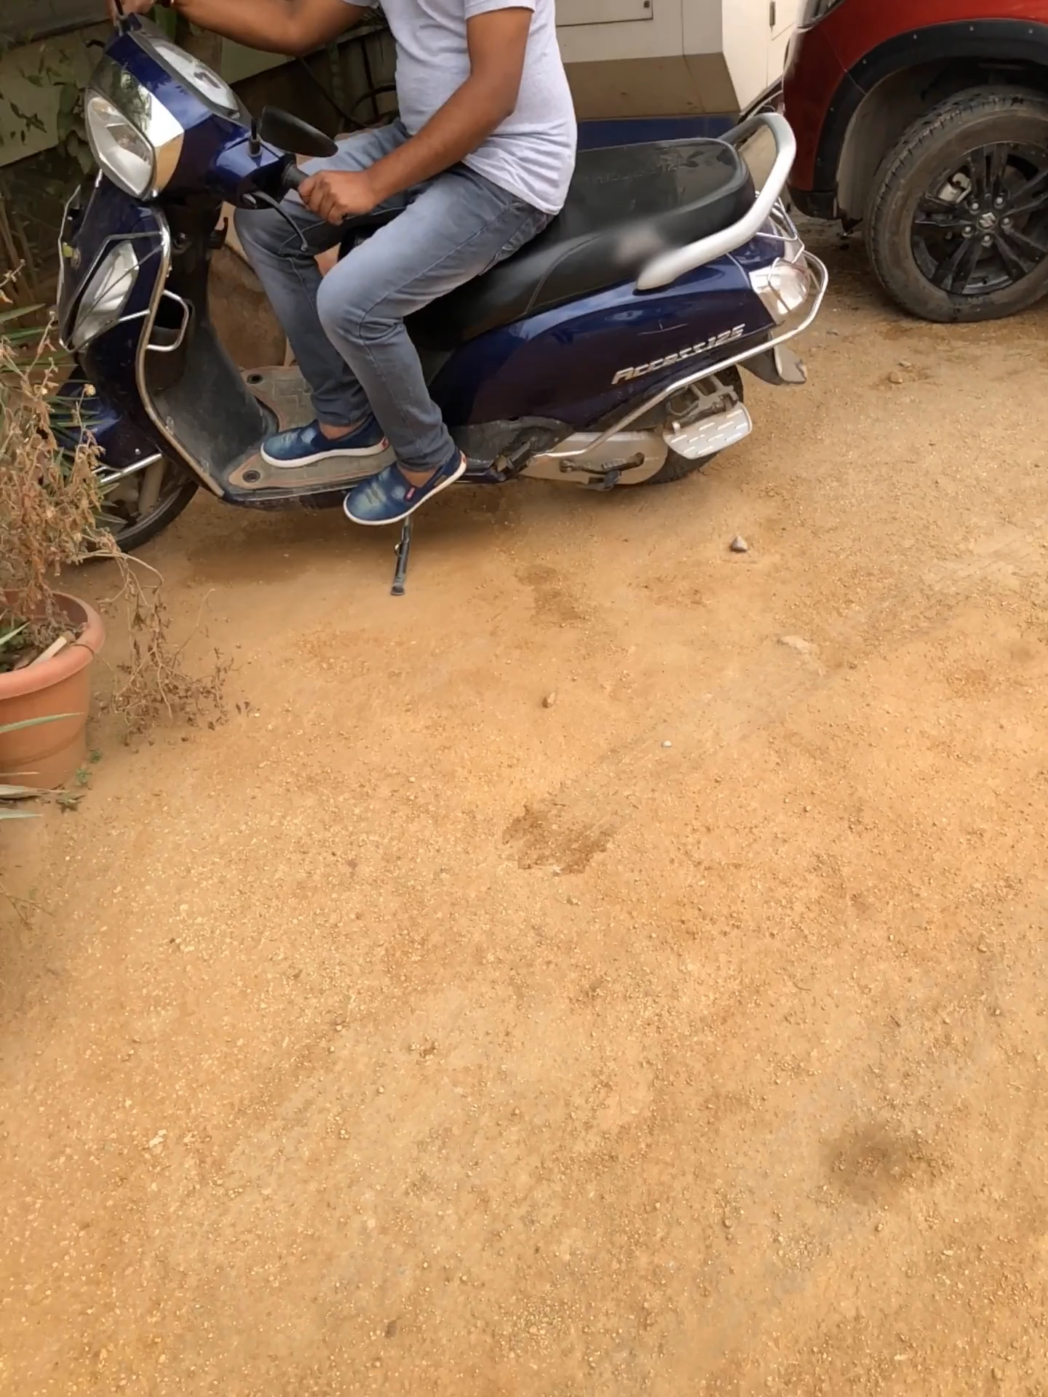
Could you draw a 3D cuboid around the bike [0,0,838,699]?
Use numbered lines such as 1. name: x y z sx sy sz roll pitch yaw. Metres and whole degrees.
1. bike: -0.306 -0.787 2.325 1.621 1.222 0.591 -11 37 -5
